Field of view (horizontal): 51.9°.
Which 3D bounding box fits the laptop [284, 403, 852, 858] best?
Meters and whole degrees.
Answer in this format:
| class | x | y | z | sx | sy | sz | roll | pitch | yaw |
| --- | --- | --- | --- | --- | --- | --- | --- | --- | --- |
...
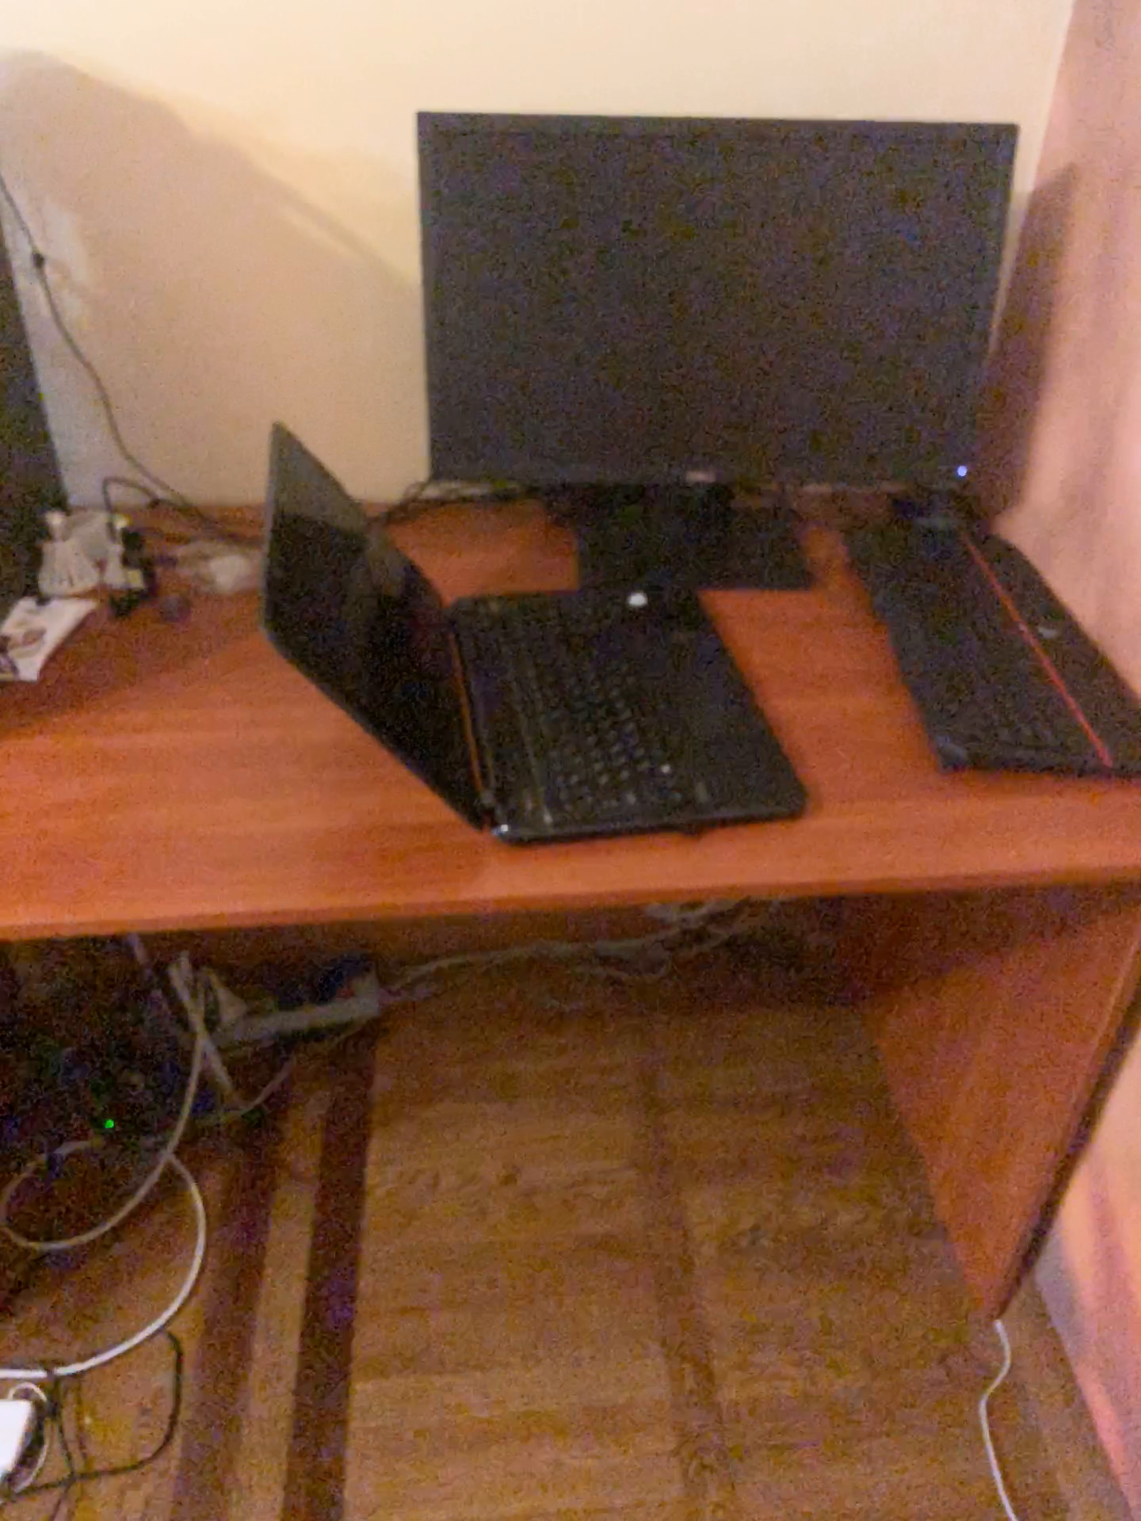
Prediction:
| class | x | y | z | sx | sy | sz | roll | pitch | yaw |
| --- | --- | --- | --- | --- | --- | --- | --- | --- | --- |
| laptop | -0.031 | -0.128 | 0.949 | 0.368 | 0.181 | 0.368 | -6 | 36 | -7 |
